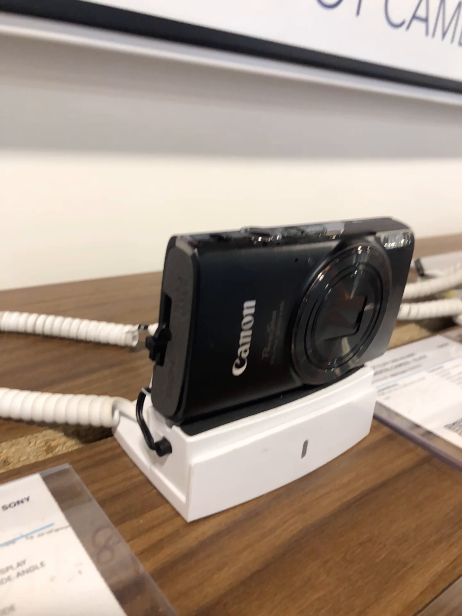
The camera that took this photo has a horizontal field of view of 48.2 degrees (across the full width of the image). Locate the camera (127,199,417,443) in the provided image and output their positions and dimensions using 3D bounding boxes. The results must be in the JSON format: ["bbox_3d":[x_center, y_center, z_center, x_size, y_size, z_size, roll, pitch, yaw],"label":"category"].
[{"bbox_3d":[0.017,-0.003,0.176,0.100,0.060,0.030,-11,24,-38],"label":"camera"}]
